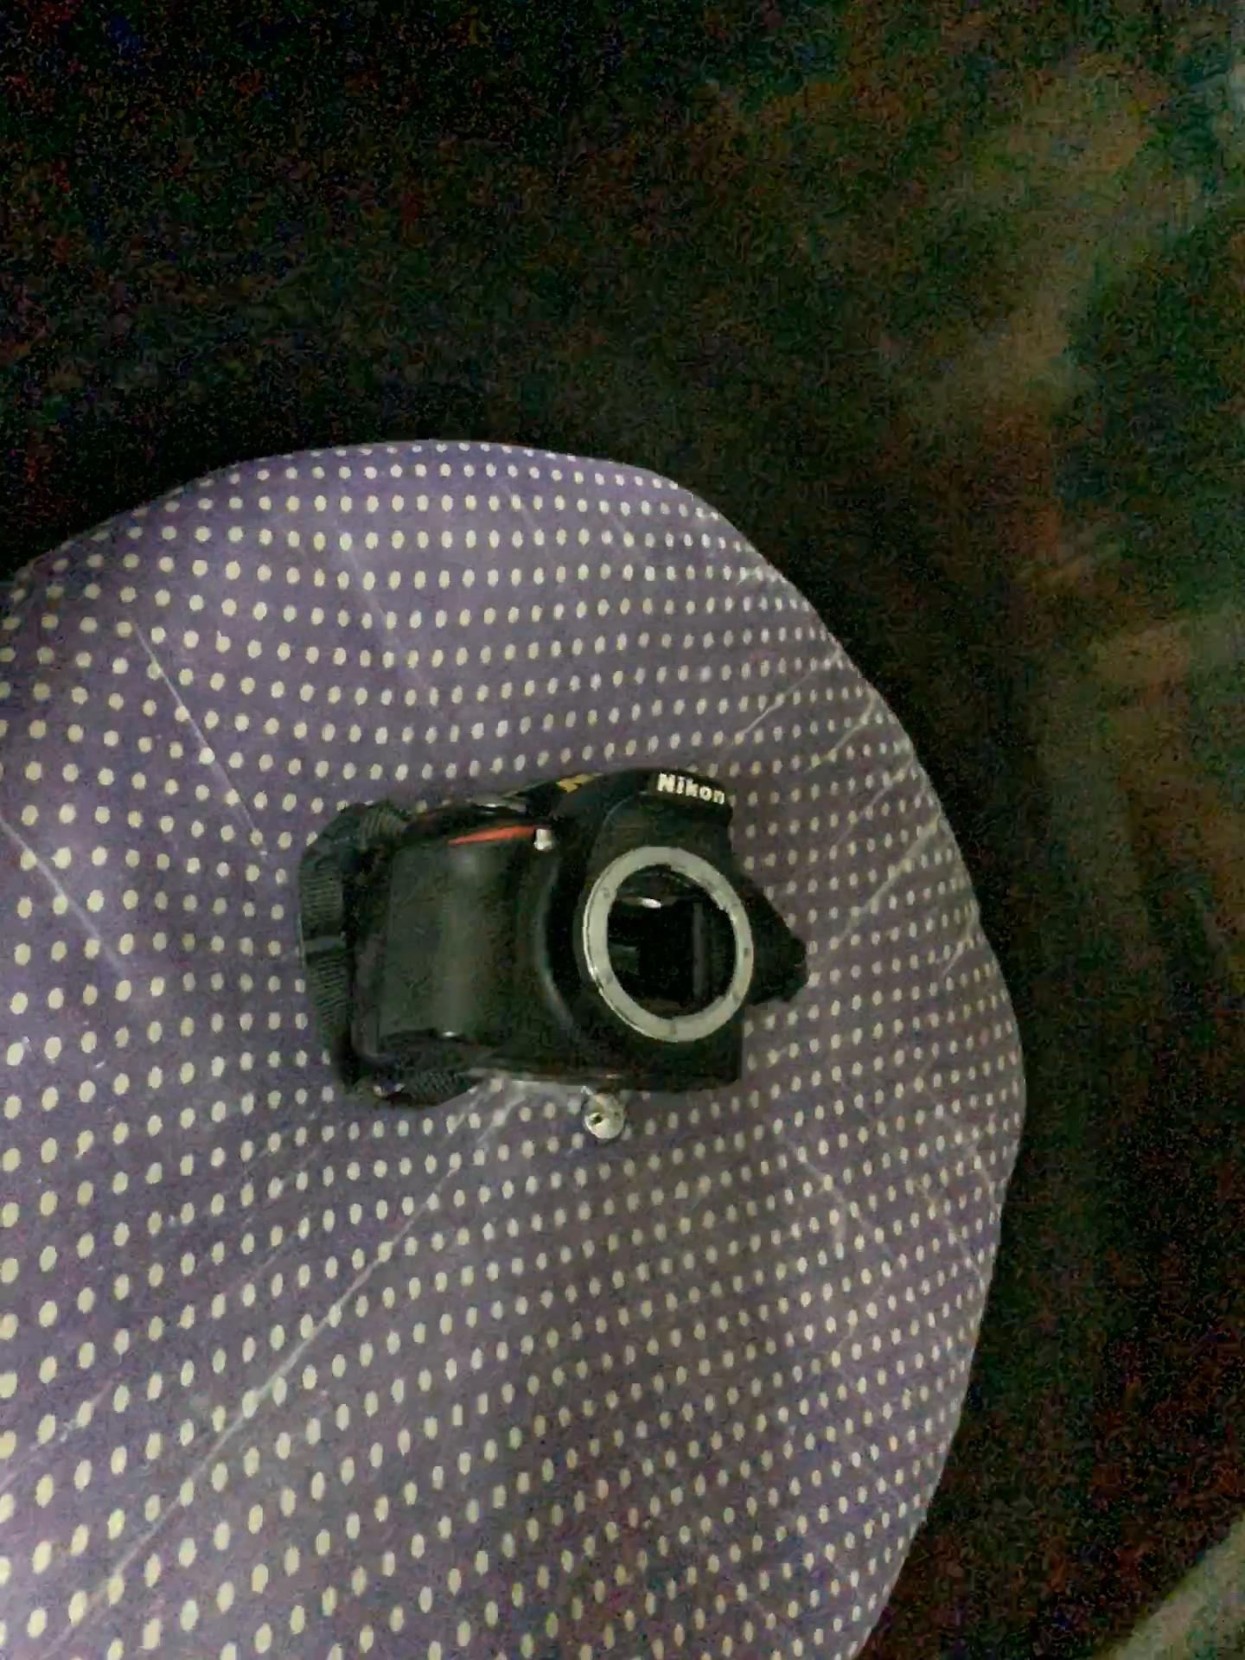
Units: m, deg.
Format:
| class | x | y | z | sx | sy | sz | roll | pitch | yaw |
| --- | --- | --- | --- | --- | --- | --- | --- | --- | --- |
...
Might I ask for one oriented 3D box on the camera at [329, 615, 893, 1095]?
| class | x | y | z | sx | sy | sz | roll | pitch | yaw |
| --- | --- | --- | --- | --- | --- | --- | --- | --- | --- |
| camera | -0.002 | 0.018 | 0.381 | 0.141 | 0.080 | 0.110 | 10 | 72 | -31 |
